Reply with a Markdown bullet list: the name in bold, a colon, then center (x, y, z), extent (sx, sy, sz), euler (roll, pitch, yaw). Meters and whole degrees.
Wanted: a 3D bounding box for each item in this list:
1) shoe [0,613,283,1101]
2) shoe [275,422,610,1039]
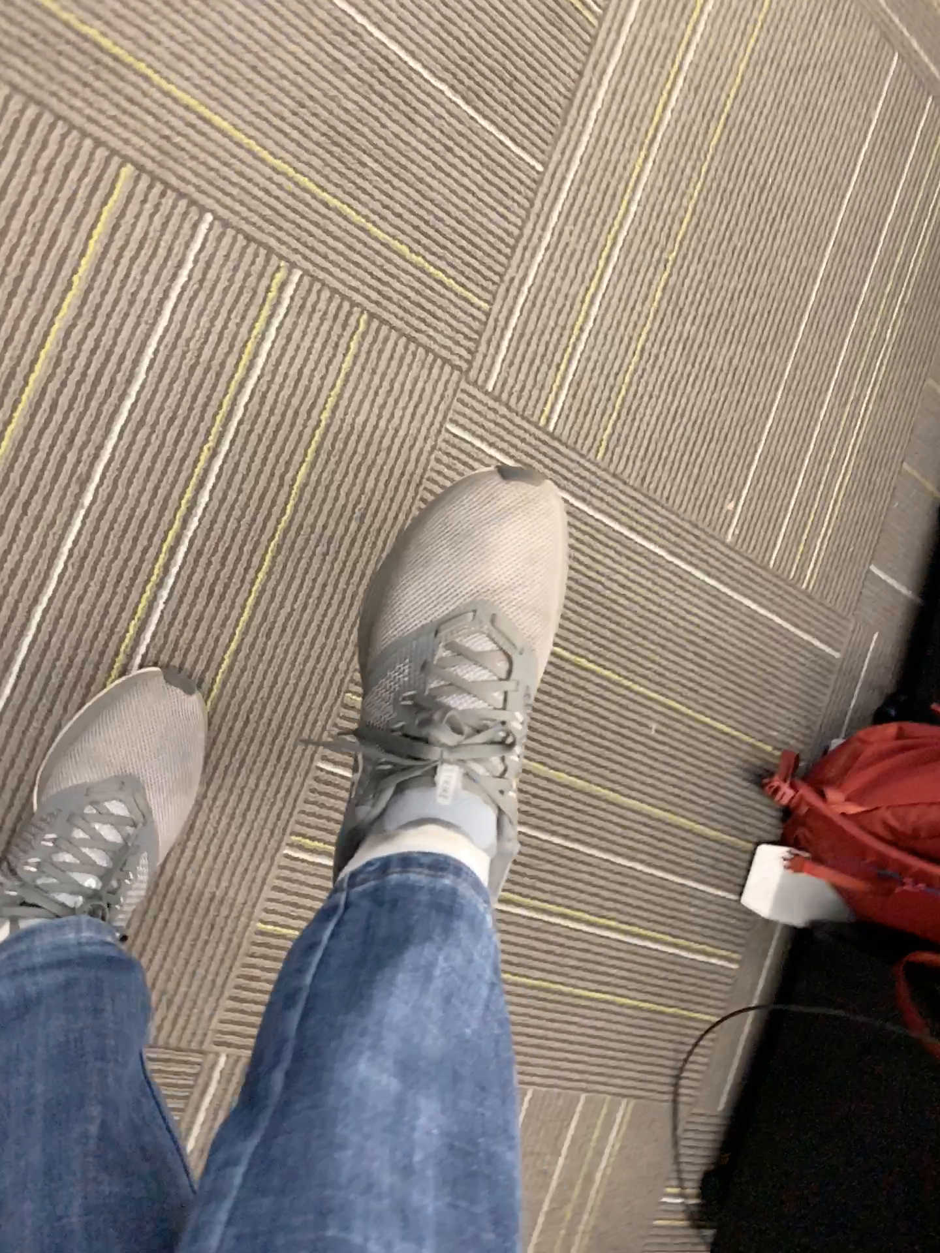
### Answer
- **shoe**: center (-0.308, 0.161, 0.750), extent (0.124, 0.179, 0.309), euler (36, 77, -30)
- **shoe**: center (-0.014, 0.054, 0.545), extent (0.127, 0.115, 0.297), euler (9, 88, -2)
